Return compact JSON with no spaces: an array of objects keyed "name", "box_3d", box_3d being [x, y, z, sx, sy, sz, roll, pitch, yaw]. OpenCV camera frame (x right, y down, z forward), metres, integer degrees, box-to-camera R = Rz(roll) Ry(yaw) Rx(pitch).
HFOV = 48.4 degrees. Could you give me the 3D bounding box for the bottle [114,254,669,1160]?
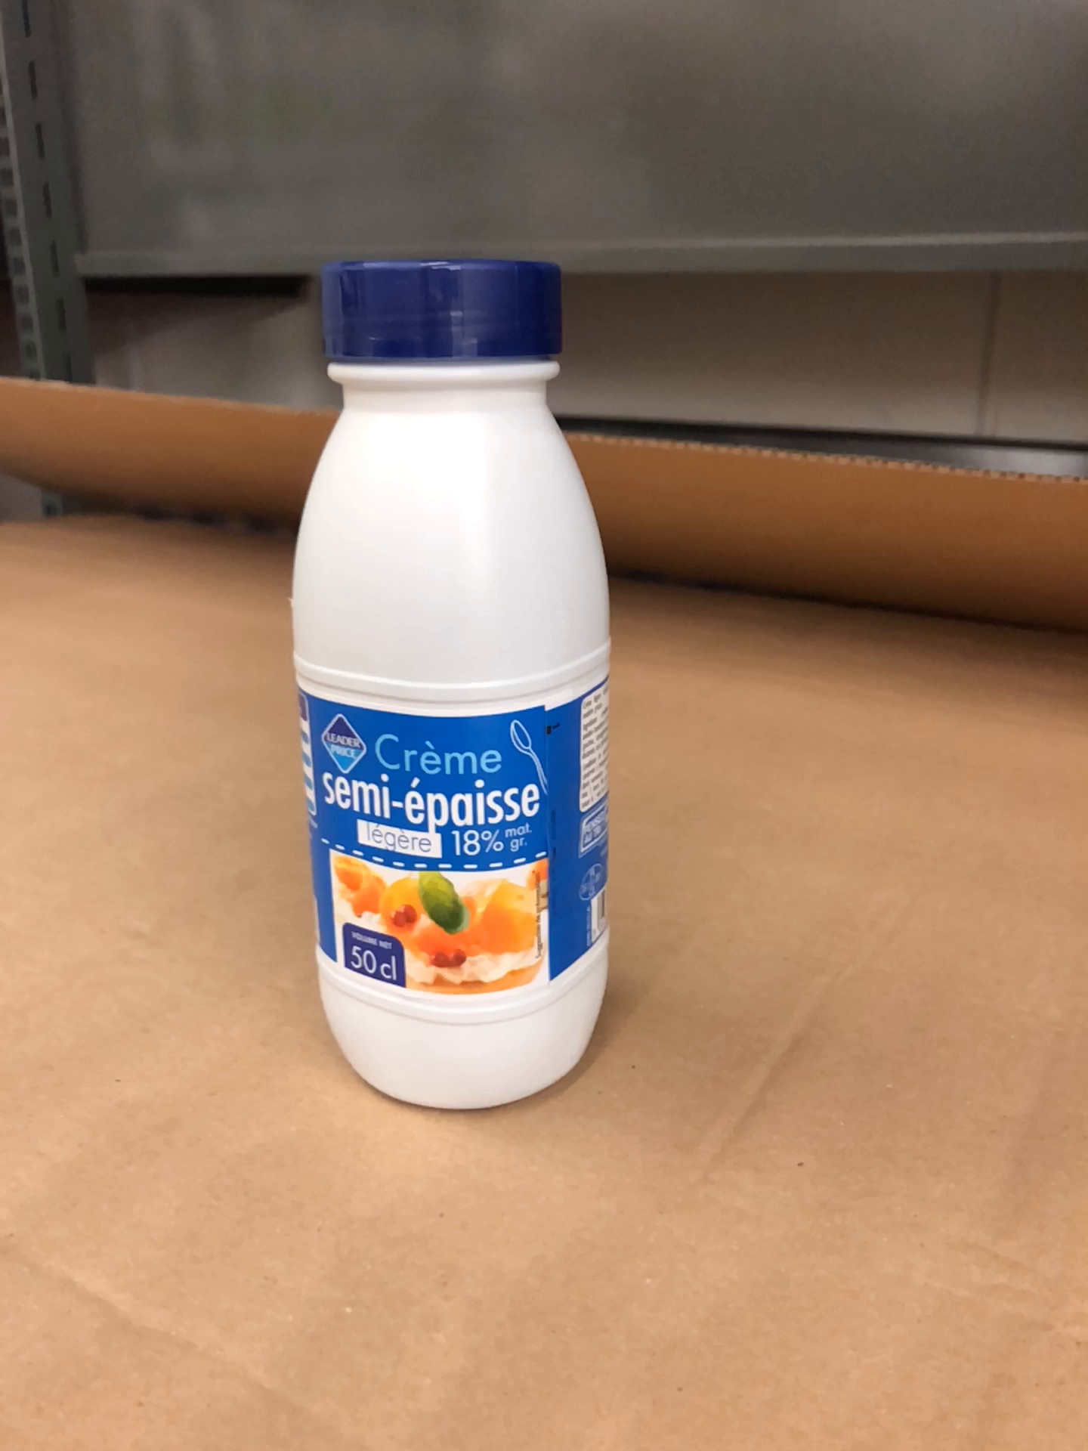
[{"name":"bottle","box_3d":[-0.025,-0.010,0.265,0.080,0.169,0.080,0,19,0]}]
